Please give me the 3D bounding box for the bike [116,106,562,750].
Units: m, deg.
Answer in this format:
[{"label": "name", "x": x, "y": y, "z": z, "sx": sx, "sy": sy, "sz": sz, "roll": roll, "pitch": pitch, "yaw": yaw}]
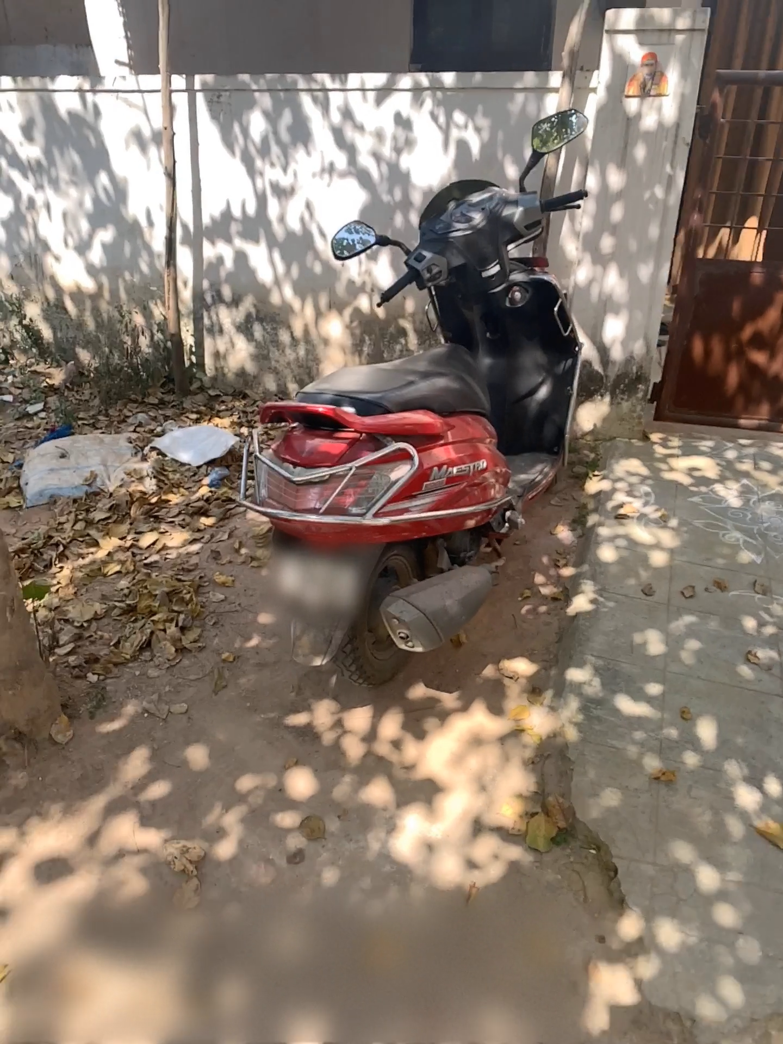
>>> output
[{"label": "bike", "x": 0.005, "y": -0.522, "z": 2.490, "sx": 0.735, "sy": 1.155, "sz": 1.768, "roll": 9, "pitch": 34, "yaw": 16}]
